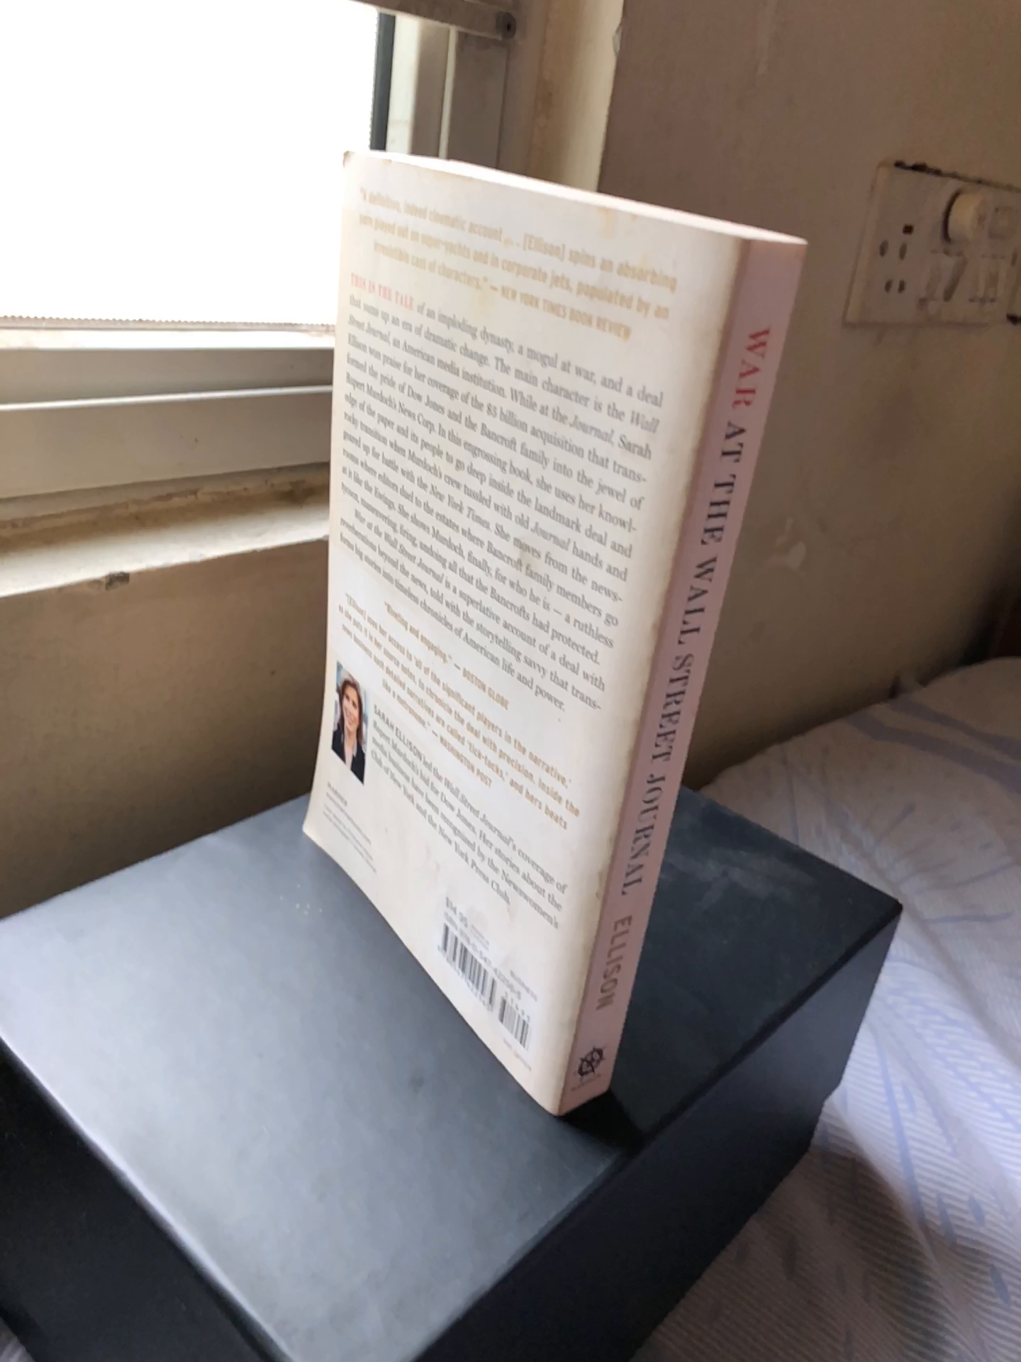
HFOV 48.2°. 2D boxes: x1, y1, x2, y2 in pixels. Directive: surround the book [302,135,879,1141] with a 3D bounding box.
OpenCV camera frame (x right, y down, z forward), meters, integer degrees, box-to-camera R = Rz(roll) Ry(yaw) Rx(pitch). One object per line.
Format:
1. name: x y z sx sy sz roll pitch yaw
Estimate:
1. book: -0.002 -0.019 0.281 0.030 0.199 0.150 -9 29 -33
